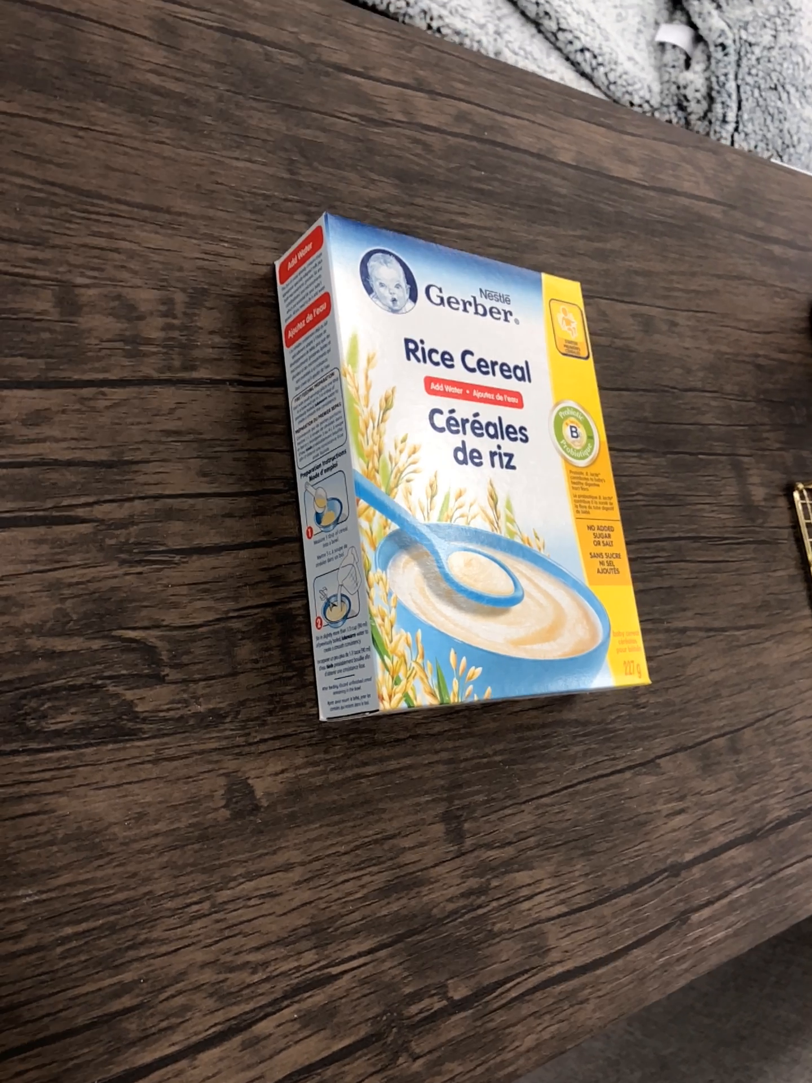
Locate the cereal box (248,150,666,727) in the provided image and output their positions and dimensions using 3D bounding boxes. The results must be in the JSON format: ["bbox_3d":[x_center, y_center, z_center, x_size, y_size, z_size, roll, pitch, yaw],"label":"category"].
[{"bbox_3d":[0.022,-0.034,0.367,0.151,0.050,0.200,2,77,-36],"label":"cereal box"}]
